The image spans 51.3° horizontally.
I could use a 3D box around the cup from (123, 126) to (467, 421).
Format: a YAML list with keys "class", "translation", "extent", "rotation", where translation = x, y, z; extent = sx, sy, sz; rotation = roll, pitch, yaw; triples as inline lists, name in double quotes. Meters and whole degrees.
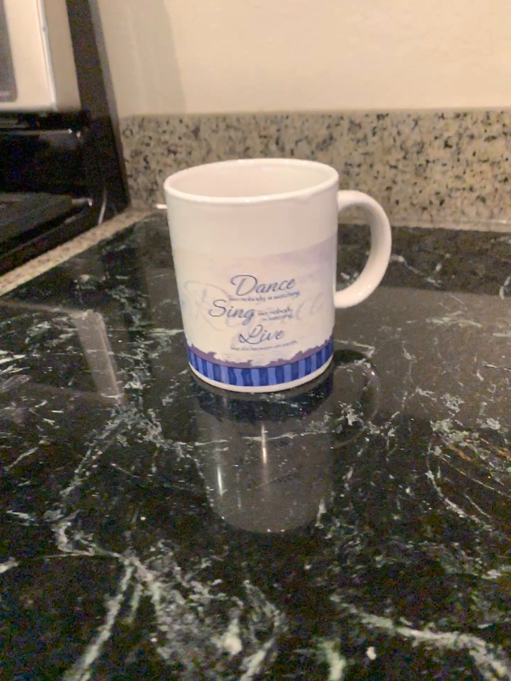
- class: "cup"
  translation: [0.016, -0.043, 0.266]
  extent: [0.130, 0.099, 0.091]
  rotation: [-14, 30, -19]
